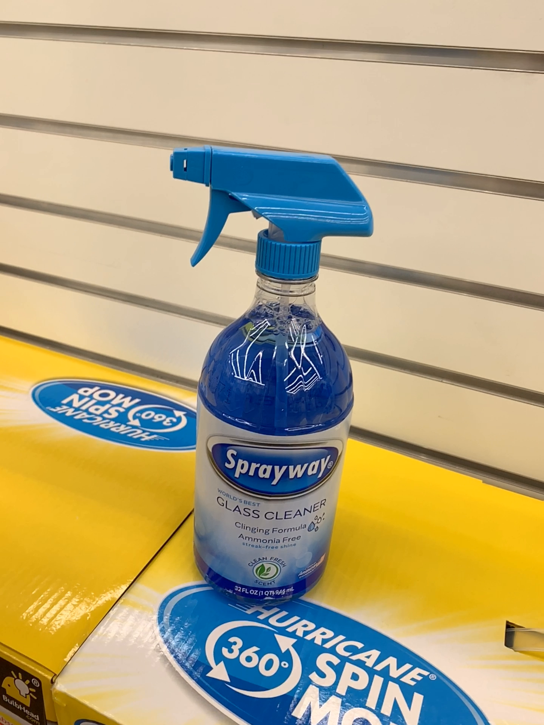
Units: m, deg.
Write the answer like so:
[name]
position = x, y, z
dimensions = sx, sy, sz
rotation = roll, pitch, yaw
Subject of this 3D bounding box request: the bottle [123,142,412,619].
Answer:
[bottle]
position = -0.009, 0.016, 0.308
dimensions = 0.110, 0.239, 0.090
rotation = 4, 27, -1
